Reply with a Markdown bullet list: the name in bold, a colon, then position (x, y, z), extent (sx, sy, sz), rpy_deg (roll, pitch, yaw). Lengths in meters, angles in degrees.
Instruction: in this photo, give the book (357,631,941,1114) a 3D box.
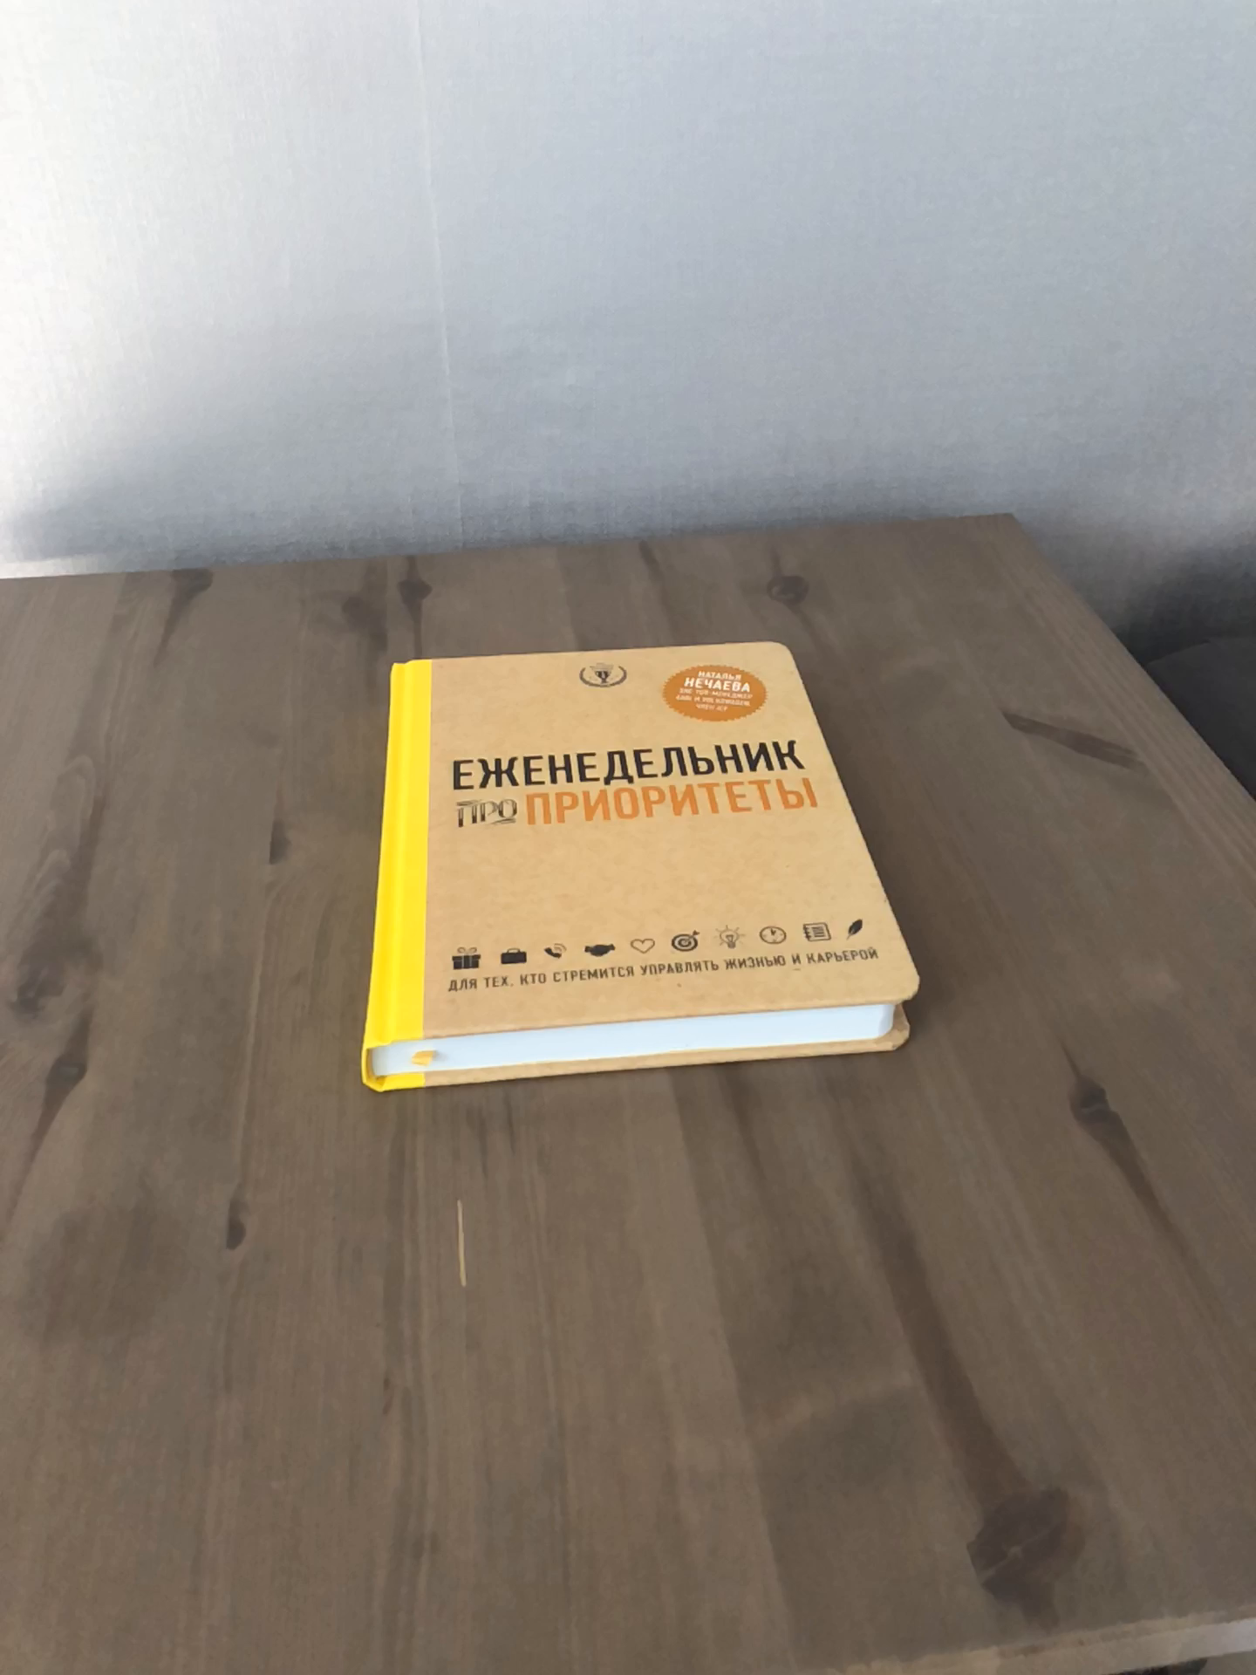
- **book**: position (-0.004, -0.002, 0.524), extent (0.180, 0.032, 0.230), rpy_deg (-4, 38, -5)
